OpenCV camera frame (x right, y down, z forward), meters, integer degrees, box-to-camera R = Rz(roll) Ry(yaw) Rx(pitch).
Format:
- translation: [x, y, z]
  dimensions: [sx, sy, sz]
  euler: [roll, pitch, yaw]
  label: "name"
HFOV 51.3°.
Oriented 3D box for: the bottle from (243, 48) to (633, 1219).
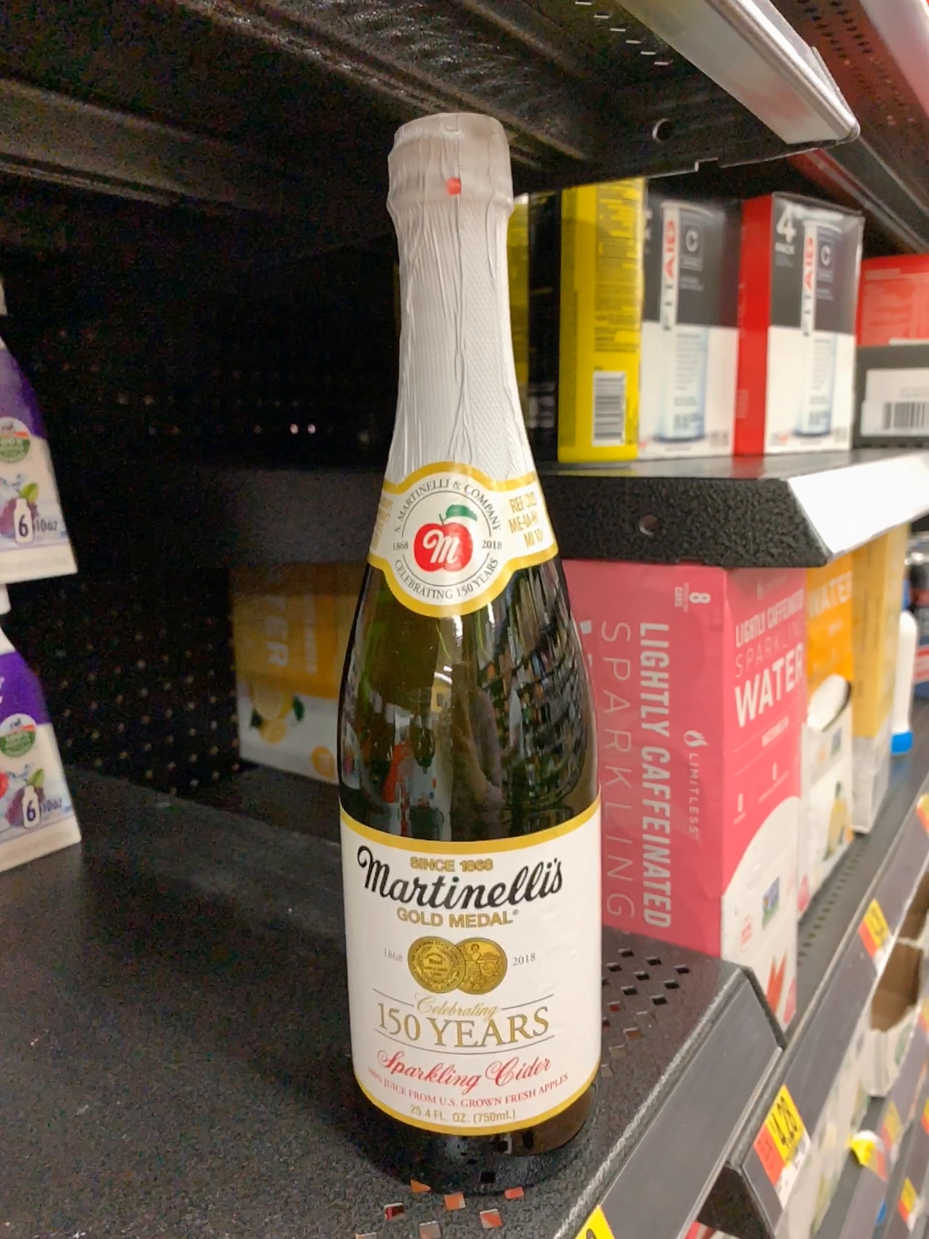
- translation: [0.000, 0.010, 0.293]
  dimensions: [0.089, 0.299, 0.090]
  euler: [0, 12, 0]
  label: "bottle"
